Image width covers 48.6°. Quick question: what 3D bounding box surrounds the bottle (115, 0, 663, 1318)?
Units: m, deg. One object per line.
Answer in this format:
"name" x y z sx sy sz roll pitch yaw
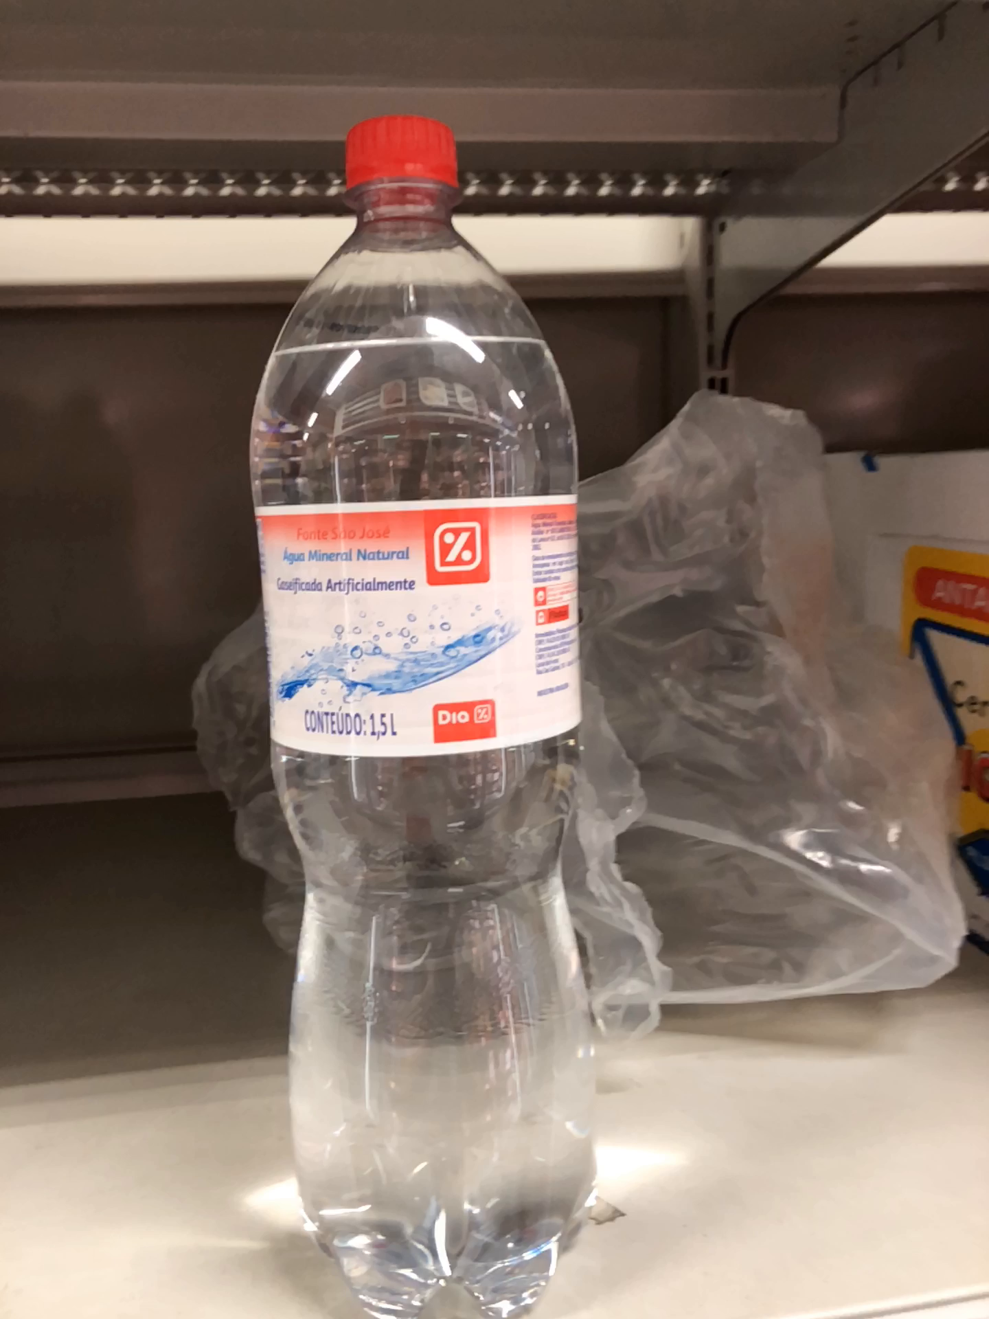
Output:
"bottle" -0.016 0.006 0.311 0.100 0.319 0.100 -3 10 0
